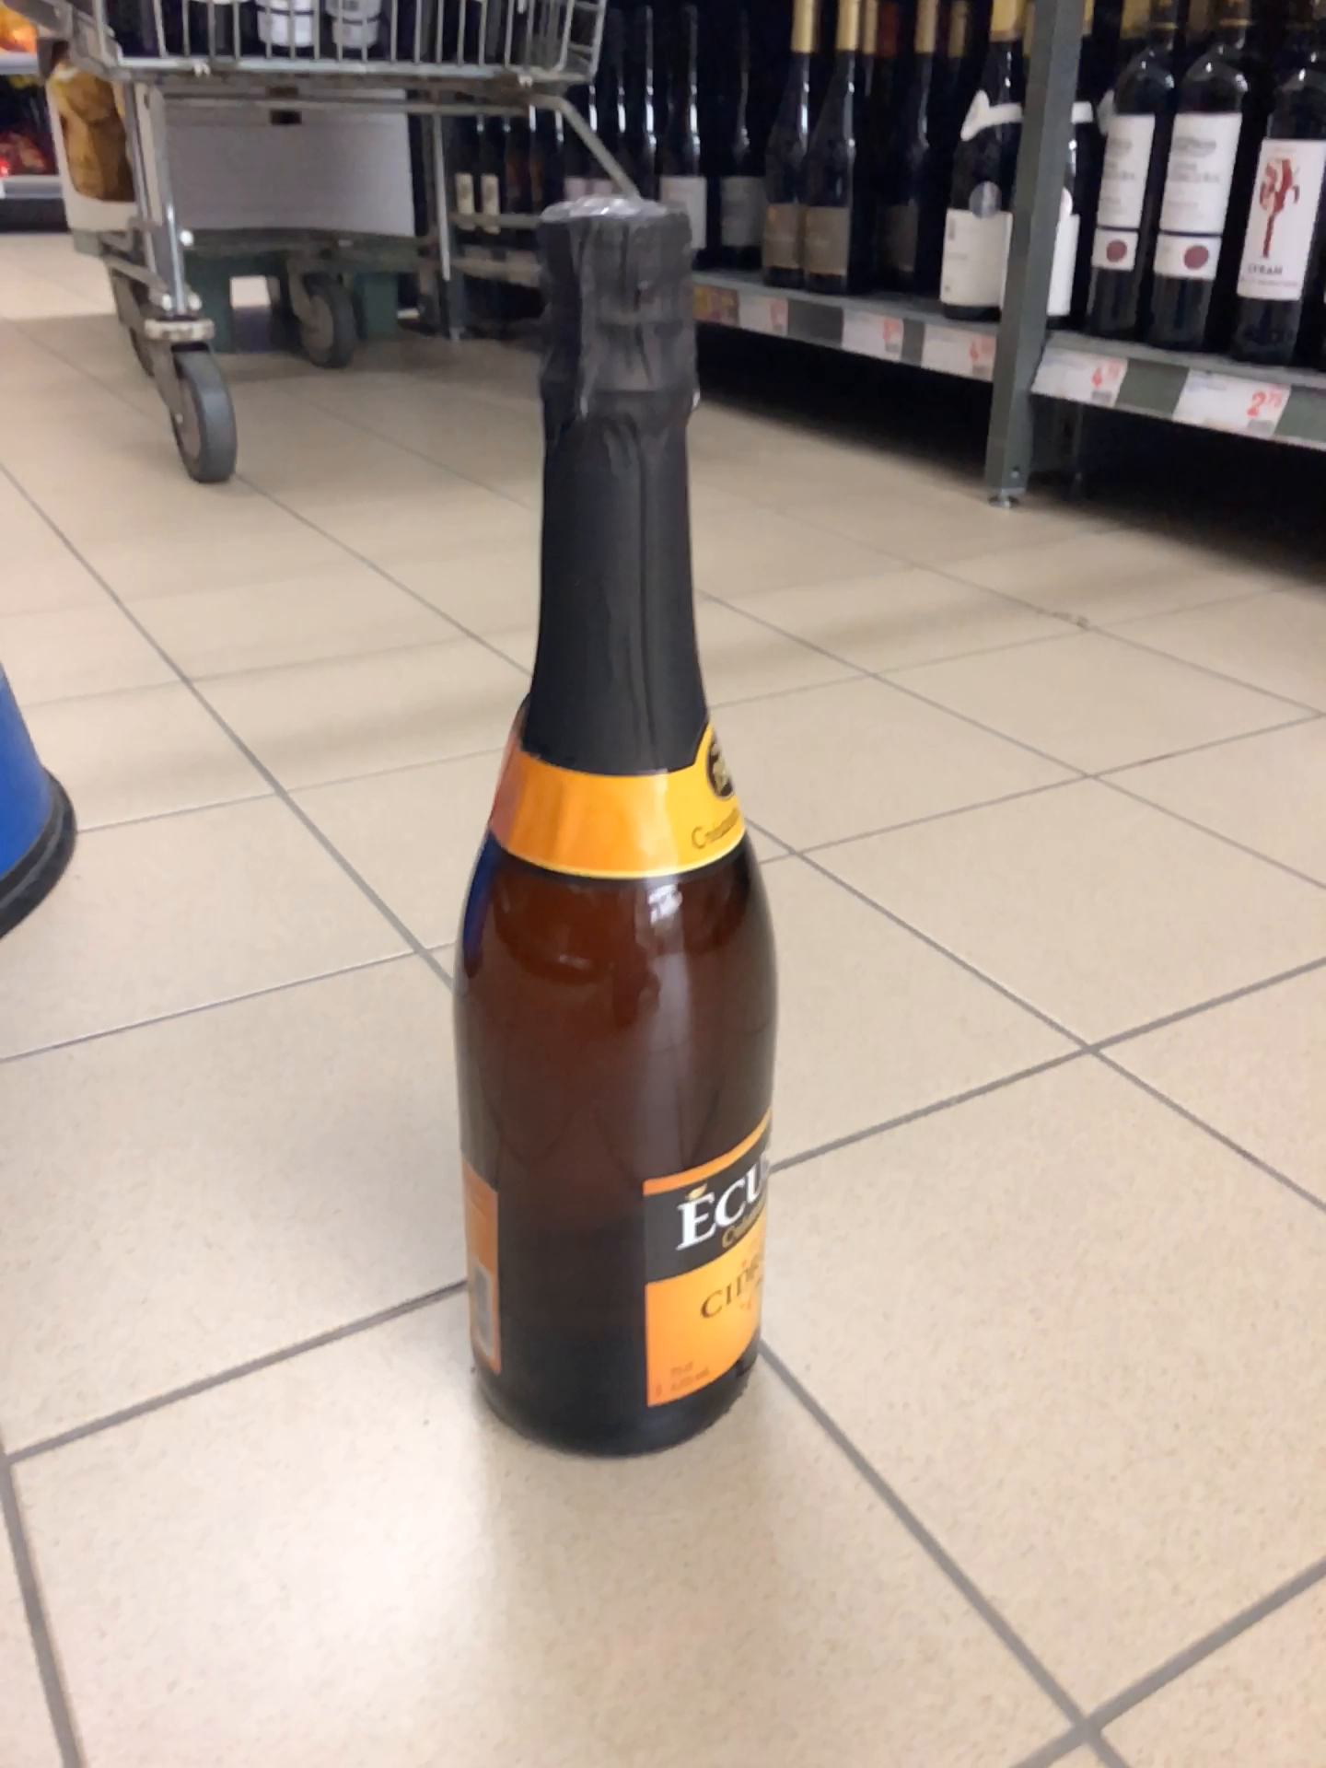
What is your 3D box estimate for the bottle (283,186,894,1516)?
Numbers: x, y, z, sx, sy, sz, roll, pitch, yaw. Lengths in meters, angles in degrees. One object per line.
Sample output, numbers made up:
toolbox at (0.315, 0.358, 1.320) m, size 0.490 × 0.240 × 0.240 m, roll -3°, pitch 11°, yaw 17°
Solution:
bottle at (-0.012, -0.002, 0.354) m, size 0.090 × 0.298 × 0.091 m, roll 1°, pitch 26°, yaw 0°
